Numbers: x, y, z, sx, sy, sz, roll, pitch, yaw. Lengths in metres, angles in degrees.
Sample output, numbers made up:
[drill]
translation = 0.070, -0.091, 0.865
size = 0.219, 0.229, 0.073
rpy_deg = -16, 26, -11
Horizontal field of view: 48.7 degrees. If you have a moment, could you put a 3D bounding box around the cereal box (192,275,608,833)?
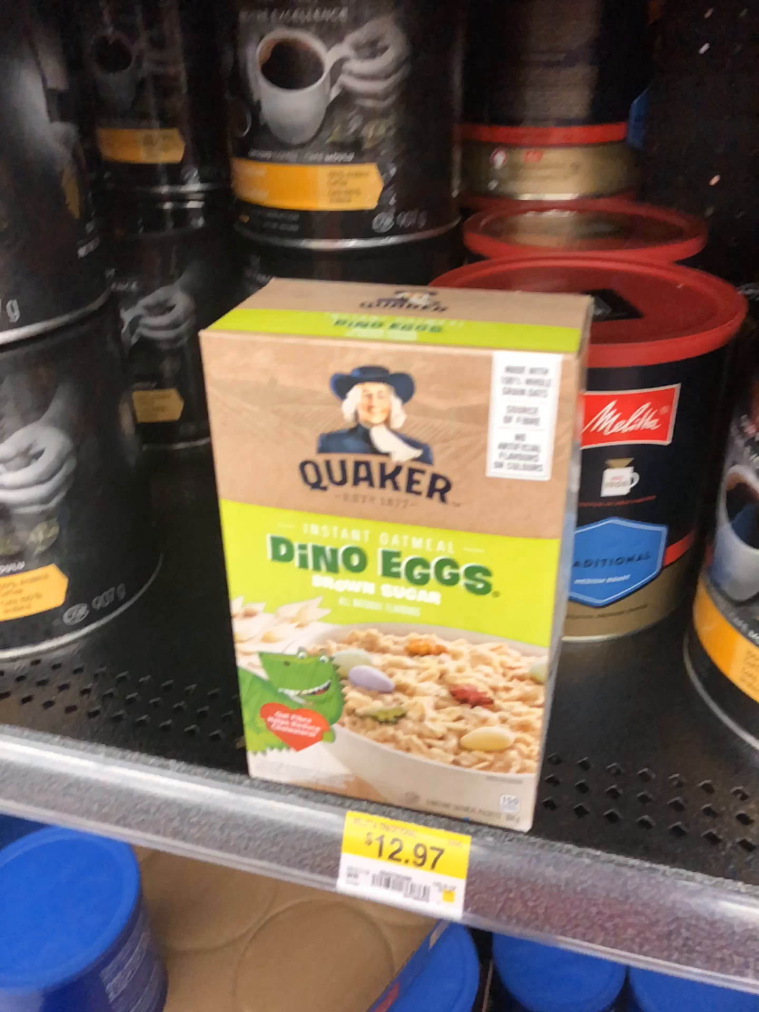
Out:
[cereal box]
translation = 0.012, 0.020, 0.335
size = 0.130, 0.199, 0.070
rpy_deg = 7, 29, 13
